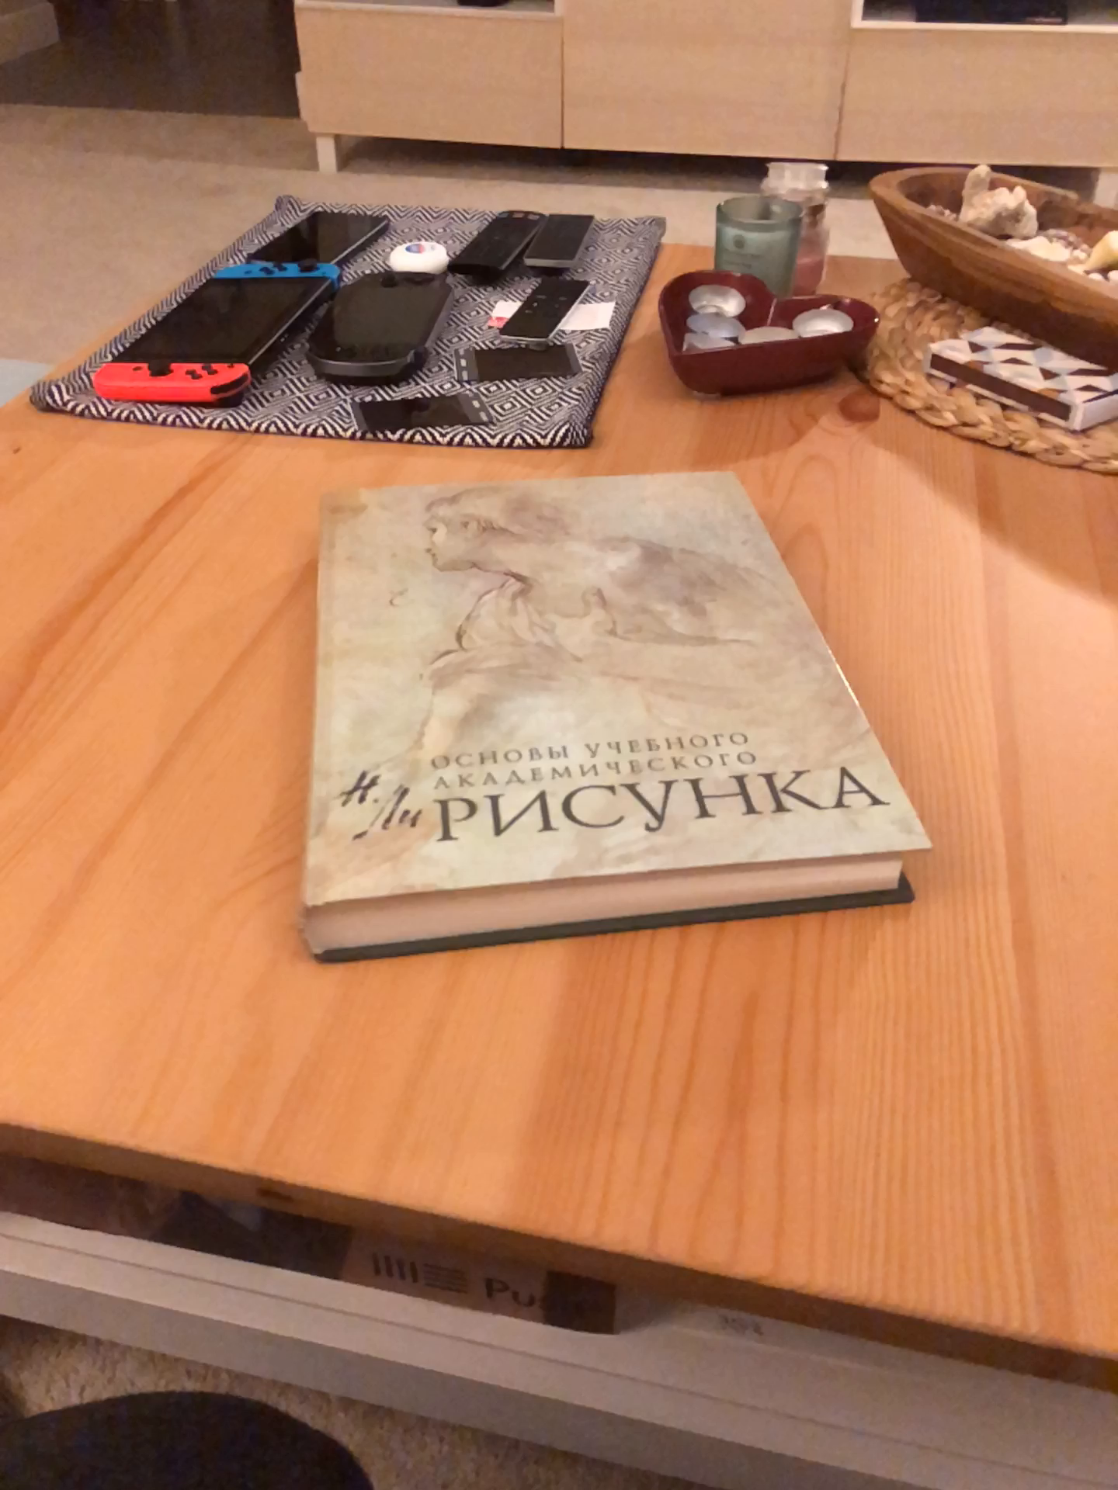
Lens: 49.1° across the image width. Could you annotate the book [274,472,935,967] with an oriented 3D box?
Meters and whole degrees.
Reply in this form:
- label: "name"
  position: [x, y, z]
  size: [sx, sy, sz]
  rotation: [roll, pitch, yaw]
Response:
- label: "book"
  position: [-0.001, -0.033, 0.505]
  size: [0.214, 0.030, 0.273]
  rotation: [-4, 39, -7]
